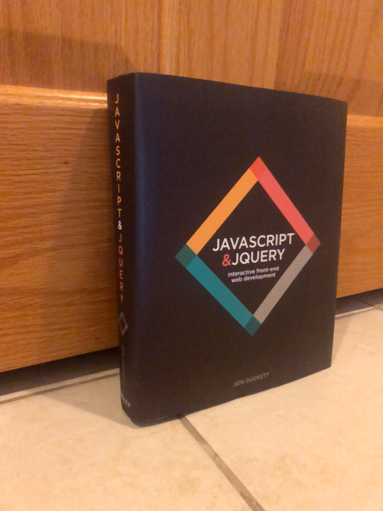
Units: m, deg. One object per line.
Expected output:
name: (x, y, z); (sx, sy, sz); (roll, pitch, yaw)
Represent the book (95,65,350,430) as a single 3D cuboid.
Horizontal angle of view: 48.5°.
book: (0.033, -0.011, 0.350); (0.201, 0.238, 0.060); (-6, 10, -30)
